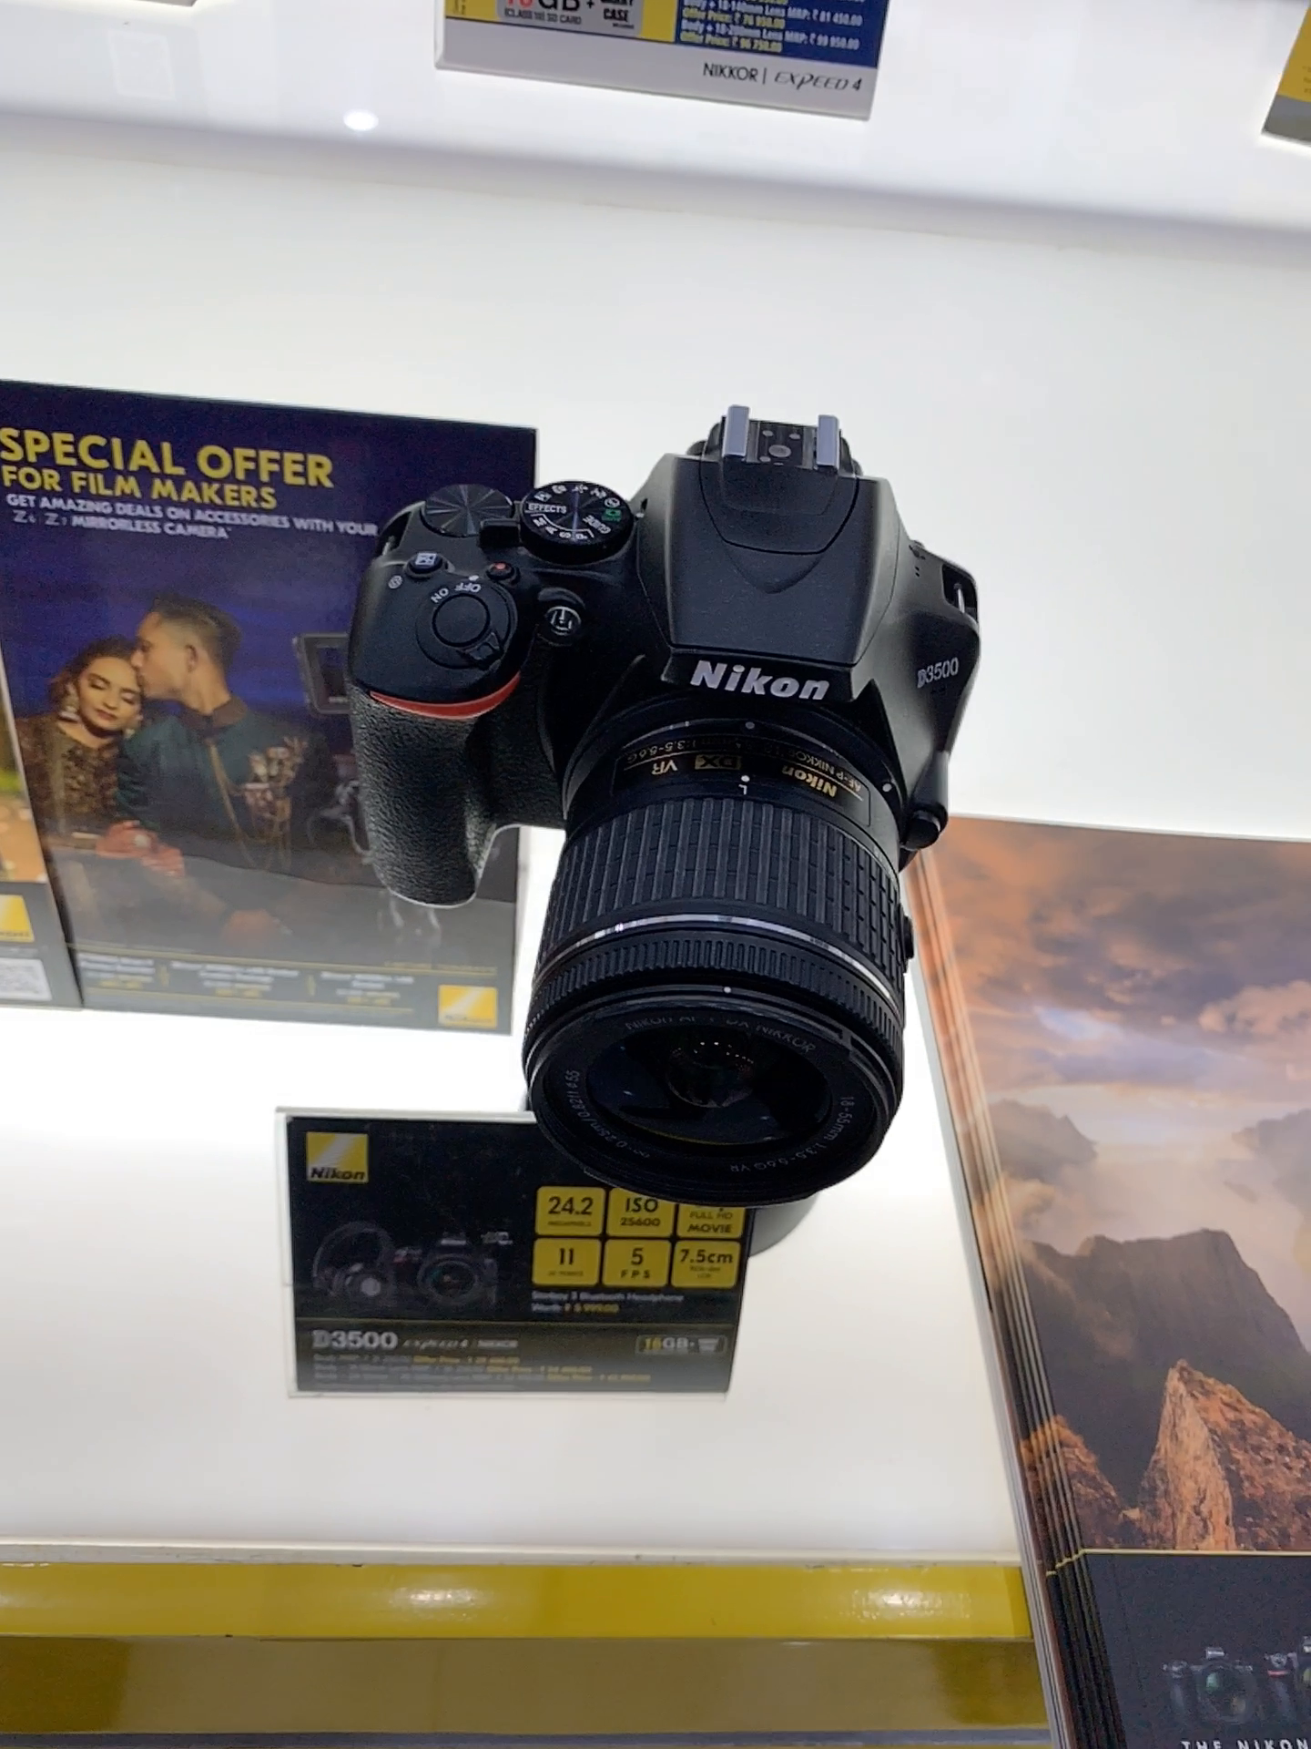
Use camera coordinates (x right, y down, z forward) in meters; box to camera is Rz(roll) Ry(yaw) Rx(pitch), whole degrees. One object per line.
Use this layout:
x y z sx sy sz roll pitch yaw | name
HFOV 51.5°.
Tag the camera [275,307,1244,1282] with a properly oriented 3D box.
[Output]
0.014 -0.023 0.230 0.110 0.070 0.150 6 46 -1 | camera
